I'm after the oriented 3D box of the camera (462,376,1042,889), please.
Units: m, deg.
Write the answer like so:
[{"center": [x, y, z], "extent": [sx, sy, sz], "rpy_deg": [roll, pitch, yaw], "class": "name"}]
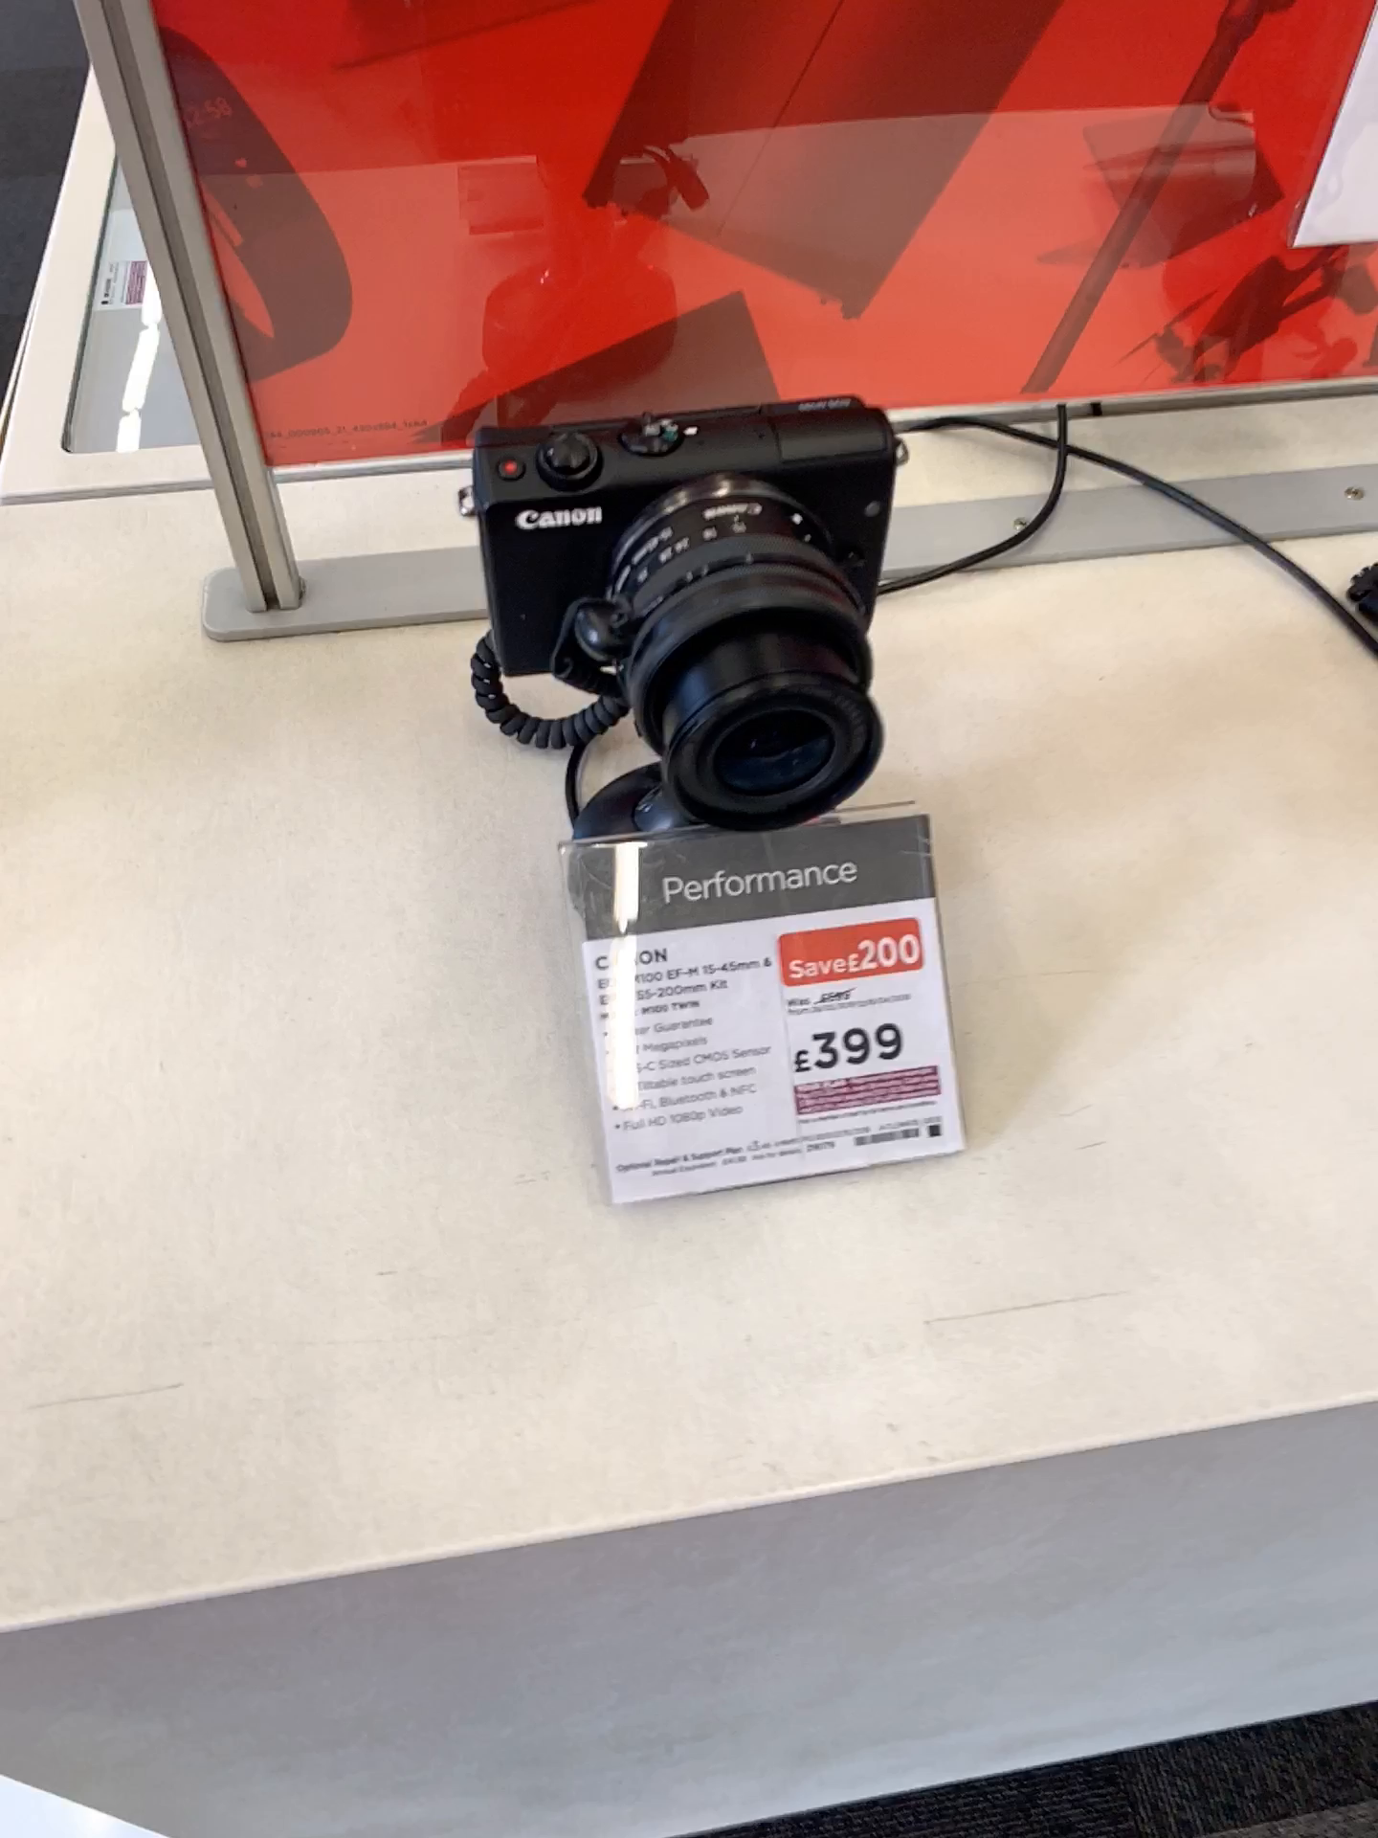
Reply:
[{"center": [0.010, -0.077, 0.367], "extent": [0.120, 0.069, 0.101], "rpy_deg": [-9, 53, -8], "class": "camera"}]
